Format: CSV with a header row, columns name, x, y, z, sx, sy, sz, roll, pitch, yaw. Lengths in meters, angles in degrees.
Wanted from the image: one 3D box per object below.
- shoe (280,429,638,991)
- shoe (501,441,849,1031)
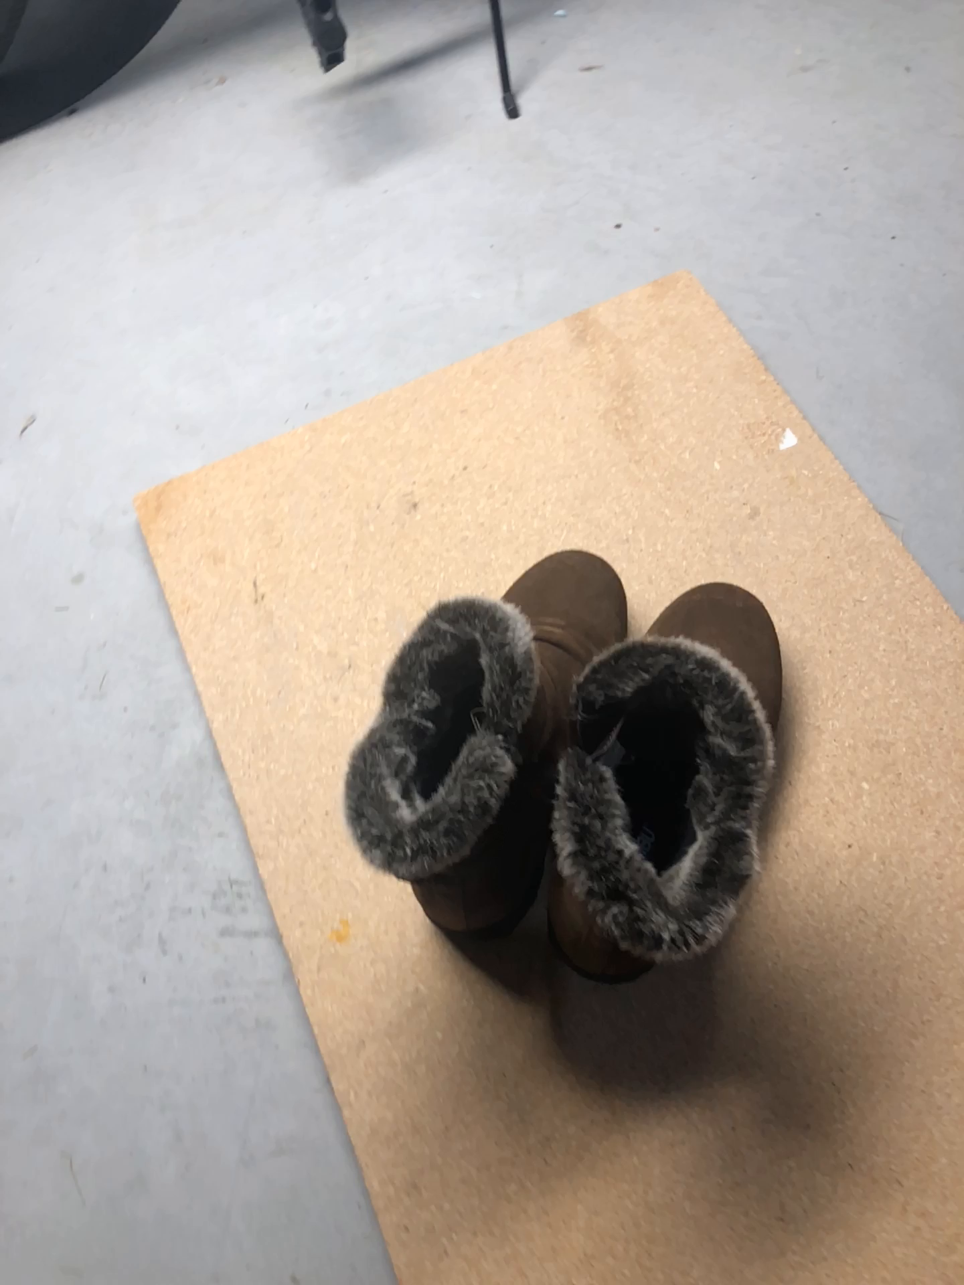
name,x,y,z,sx,sy,sz,roll,pitch,yaw
shoe,0.005,0.046,0.638,0.100,0.200,0.260,16,65,15
shoe,0.110,0.062,0.604,0.100,0.220,0.250,16,65,15
